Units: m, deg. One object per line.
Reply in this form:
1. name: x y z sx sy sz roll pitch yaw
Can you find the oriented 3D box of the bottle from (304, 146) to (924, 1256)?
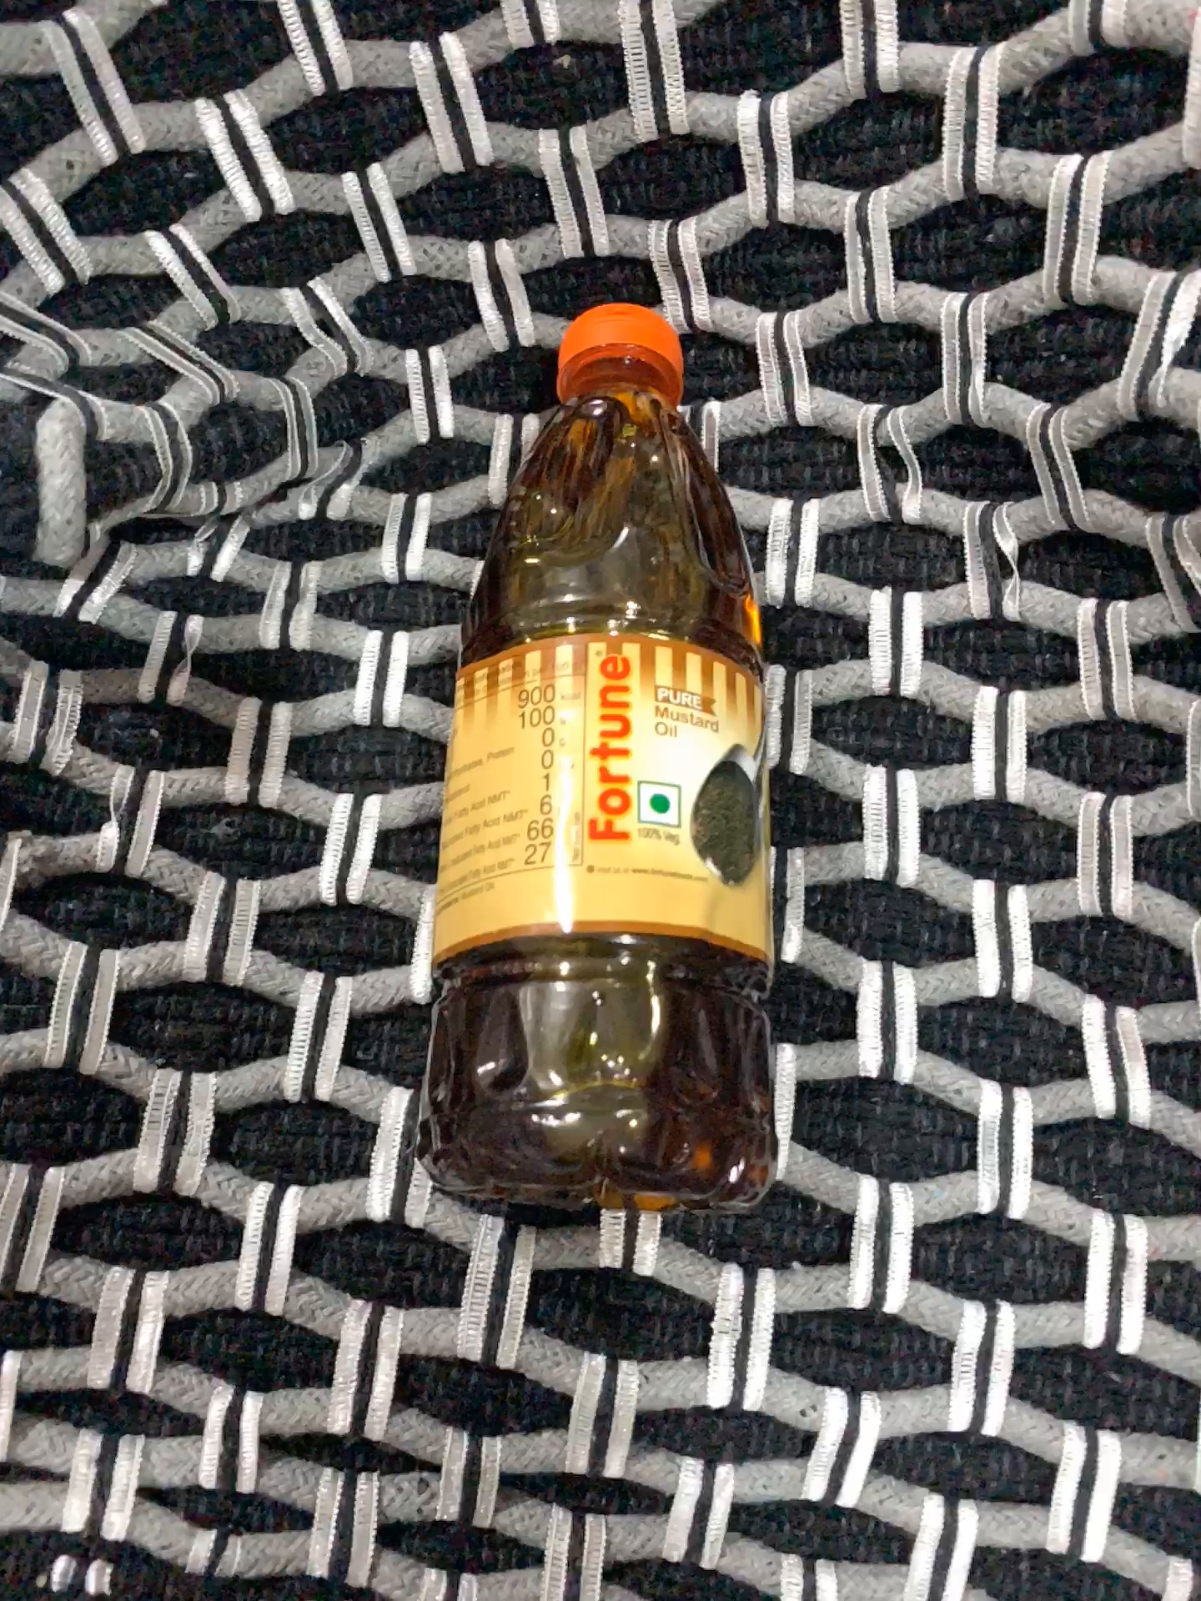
1. bottle: 0.004 -0.022 0.276 0.080 0.080 0.220 -25 53 41
